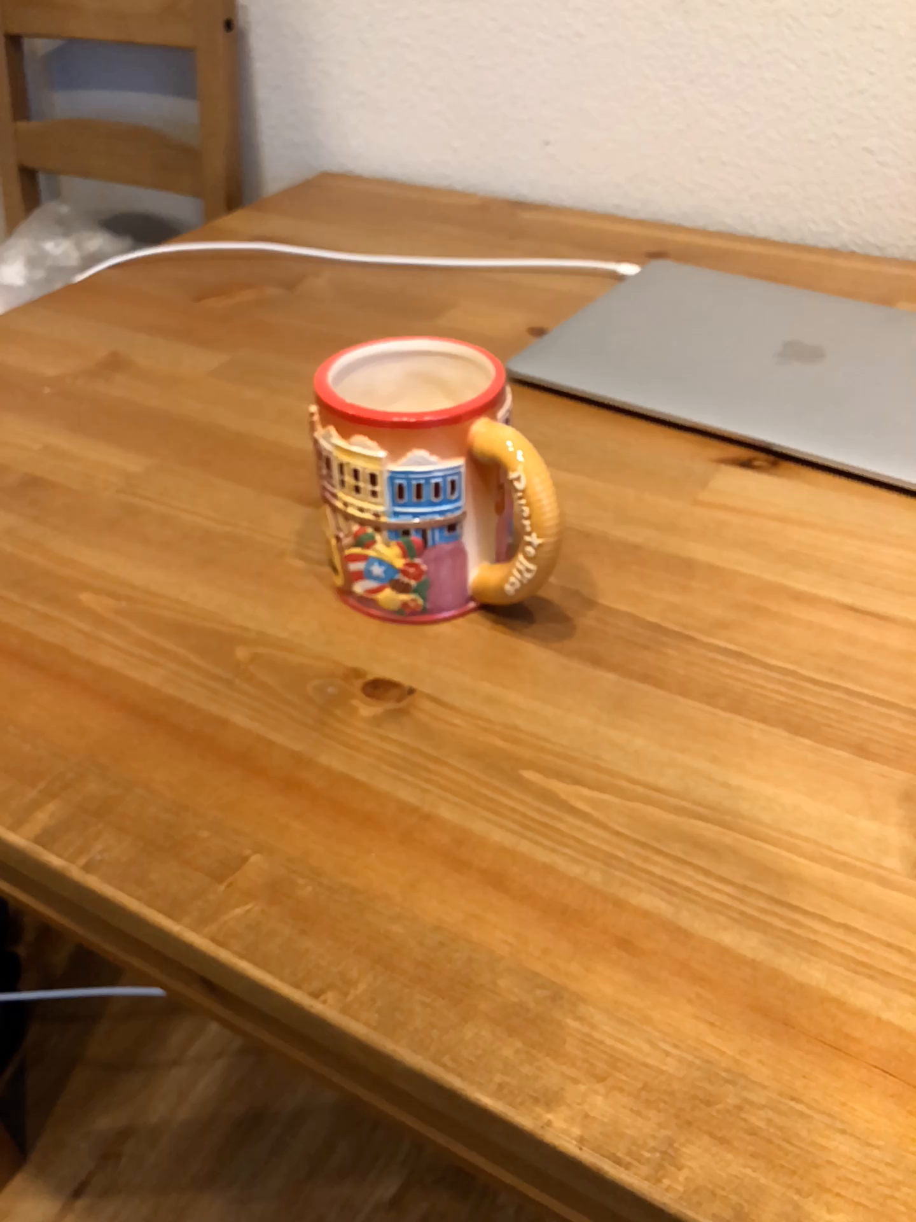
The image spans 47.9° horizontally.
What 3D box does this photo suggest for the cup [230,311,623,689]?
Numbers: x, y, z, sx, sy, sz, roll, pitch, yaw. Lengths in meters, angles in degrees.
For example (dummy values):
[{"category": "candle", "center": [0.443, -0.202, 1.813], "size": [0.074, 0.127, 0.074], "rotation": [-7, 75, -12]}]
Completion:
[{"category": "cup", "center": [-0.014, -0.053, 0.432], "size": [0.090, 0.090, 0.130], "rotation": [-31, 46, -33]}]
